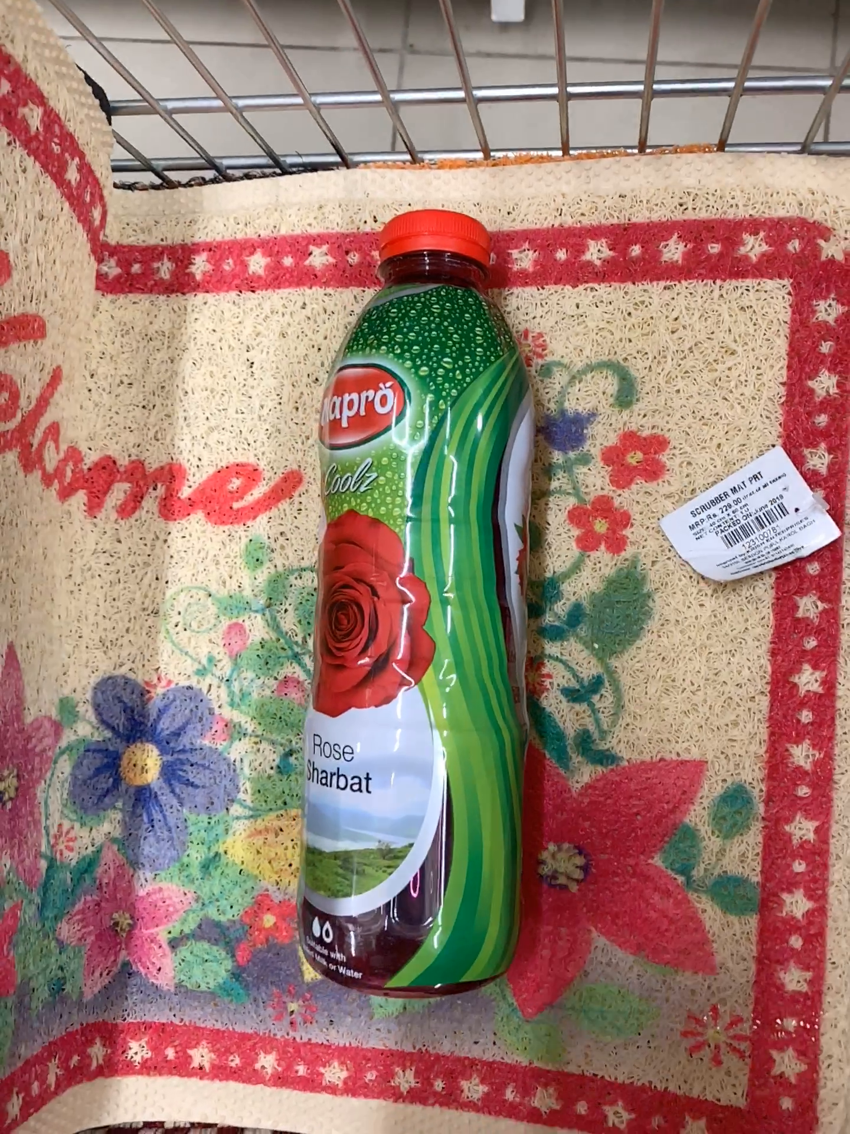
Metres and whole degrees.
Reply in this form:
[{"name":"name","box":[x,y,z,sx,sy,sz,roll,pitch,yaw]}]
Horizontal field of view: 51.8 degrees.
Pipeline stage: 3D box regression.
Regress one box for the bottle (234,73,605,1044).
[{"name":"bottle","box":[0.001,-0.003,0.281,0.080,0.080,0.250,1,88,38]}]
